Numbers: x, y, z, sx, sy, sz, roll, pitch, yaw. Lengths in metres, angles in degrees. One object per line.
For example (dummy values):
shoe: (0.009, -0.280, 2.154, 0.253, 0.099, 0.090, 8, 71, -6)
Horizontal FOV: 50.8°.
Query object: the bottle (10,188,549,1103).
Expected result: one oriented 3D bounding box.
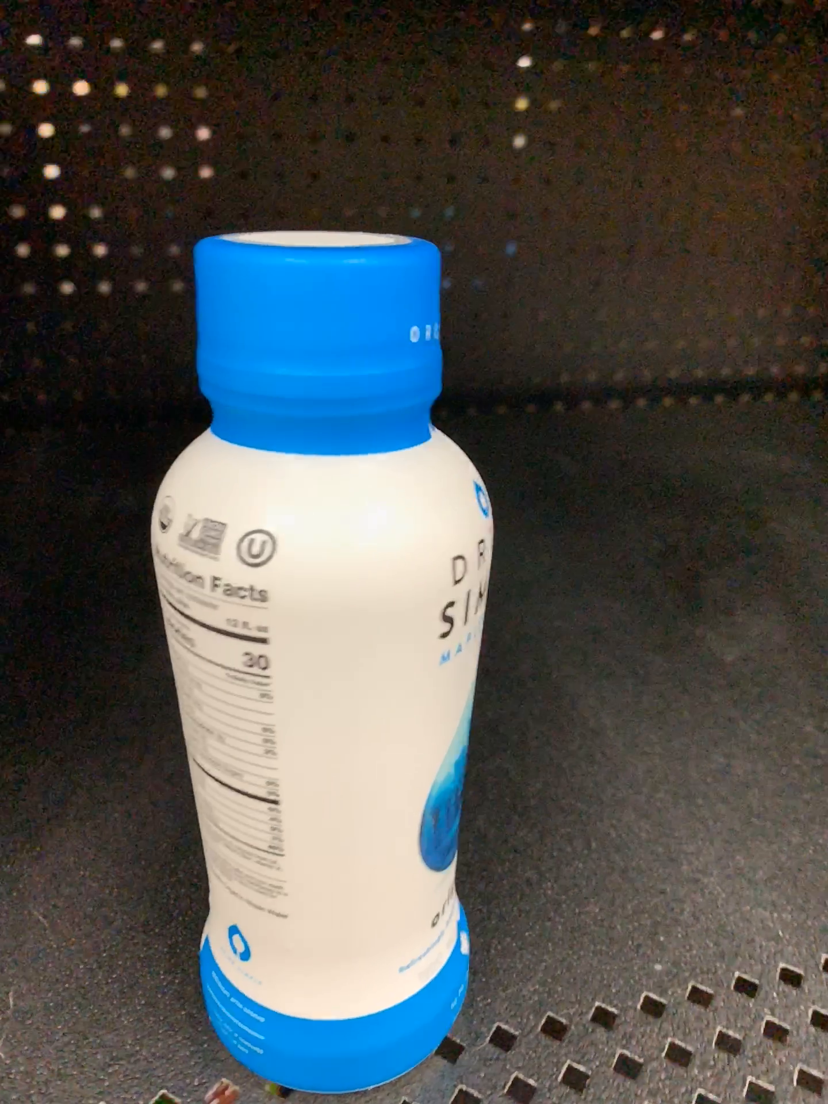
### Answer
bottle: (-0.016, 0.021, 0.176, 0.065, 0.169, 0.070, 1, 25, -1)
